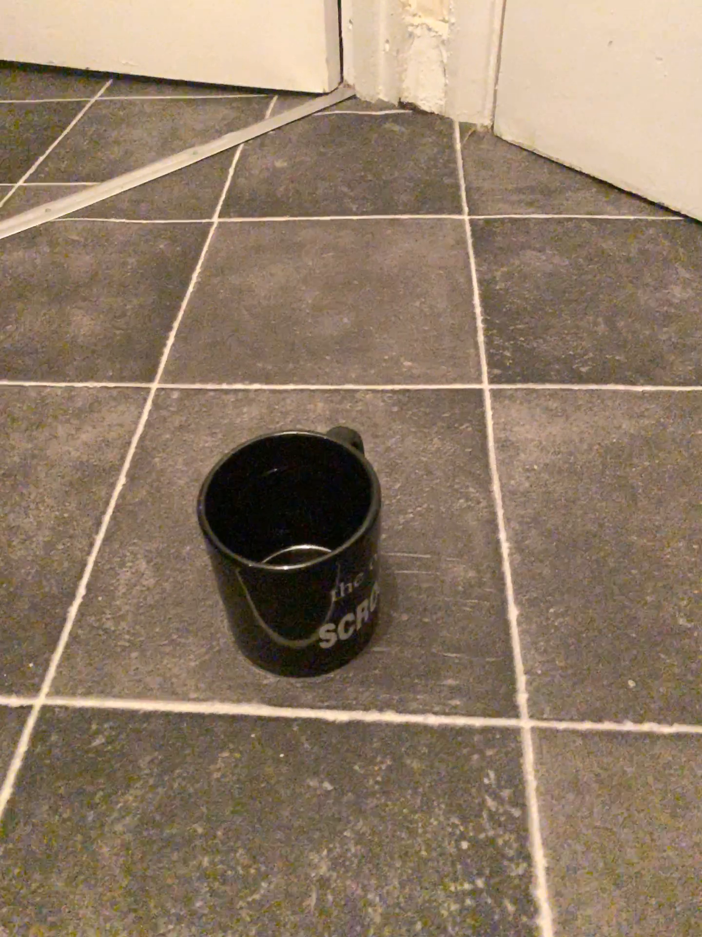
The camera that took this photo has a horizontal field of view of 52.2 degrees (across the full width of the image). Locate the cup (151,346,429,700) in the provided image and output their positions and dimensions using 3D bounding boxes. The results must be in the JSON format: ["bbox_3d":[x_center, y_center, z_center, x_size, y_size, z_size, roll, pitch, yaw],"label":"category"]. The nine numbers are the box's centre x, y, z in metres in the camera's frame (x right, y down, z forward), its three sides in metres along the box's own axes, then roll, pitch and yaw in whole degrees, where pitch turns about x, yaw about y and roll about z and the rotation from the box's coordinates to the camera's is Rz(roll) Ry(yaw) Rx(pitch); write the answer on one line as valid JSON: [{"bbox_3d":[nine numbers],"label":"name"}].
[{"bbox_3d":[-0.019,0.023,0.362,0.090,0.099,0.131,10,47,12],"label":"cup"}]
